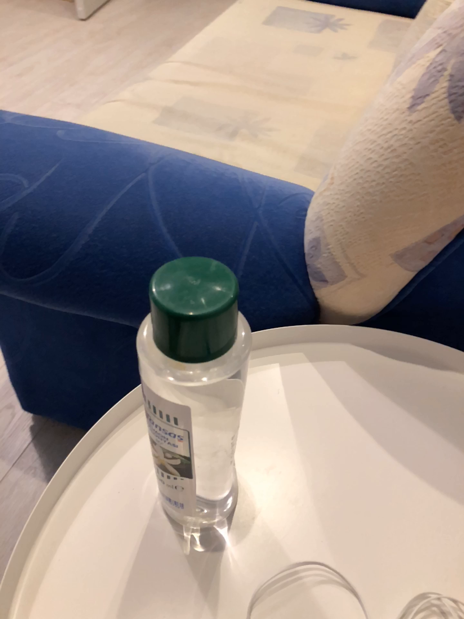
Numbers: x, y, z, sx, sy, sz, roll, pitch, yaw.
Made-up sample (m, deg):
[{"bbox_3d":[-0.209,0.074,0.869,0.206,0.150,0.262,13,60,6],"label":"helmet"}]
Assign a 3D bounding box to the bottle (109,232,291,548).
[{"bbox_3d":[-0.018,0.059,0.291,0.060,0.199,0.052,-31,55,-29],"label":"bottle"}]
